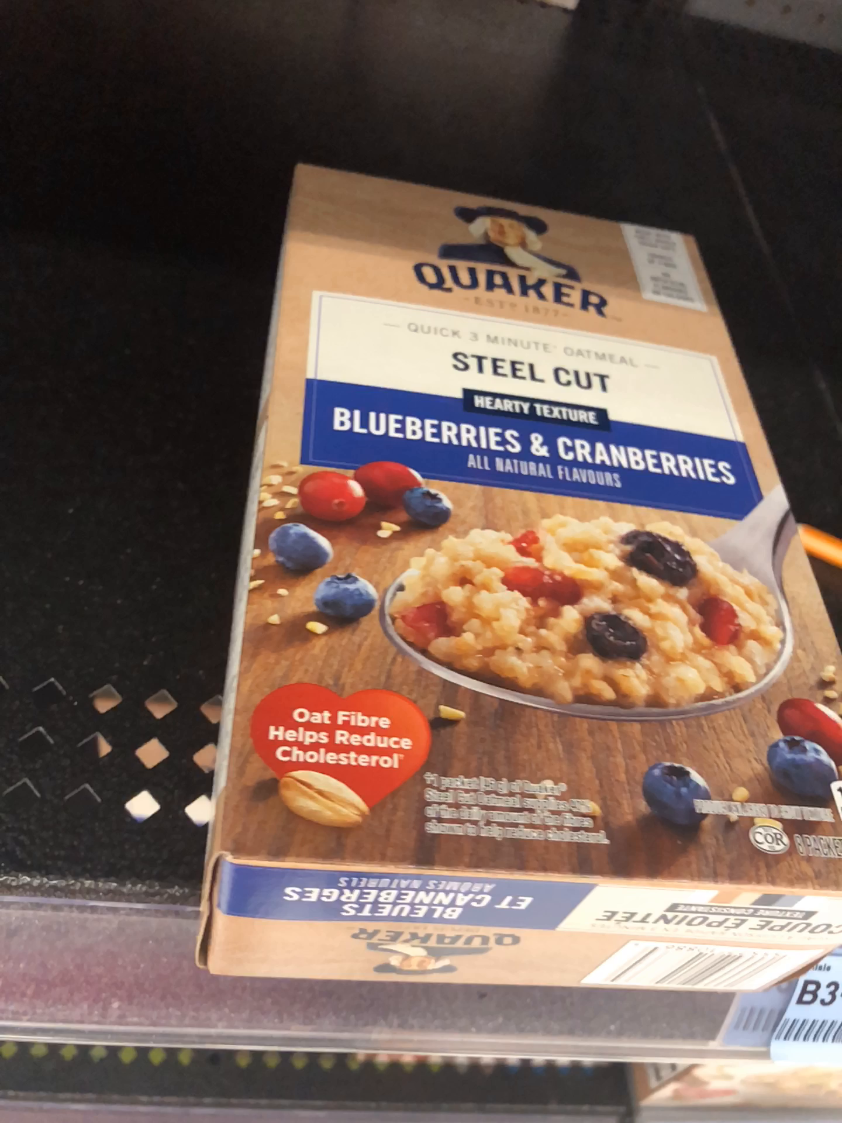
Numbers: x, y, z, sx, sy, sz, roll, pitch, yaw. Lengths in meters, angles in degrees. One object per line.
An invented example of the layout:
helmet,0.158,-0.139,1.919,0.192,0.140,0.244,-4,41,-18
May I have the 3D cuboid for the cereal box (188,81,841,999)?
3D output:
cereal box,0.022,-0.025,0.247,0.130,0.060,0.241,7,51,-10
